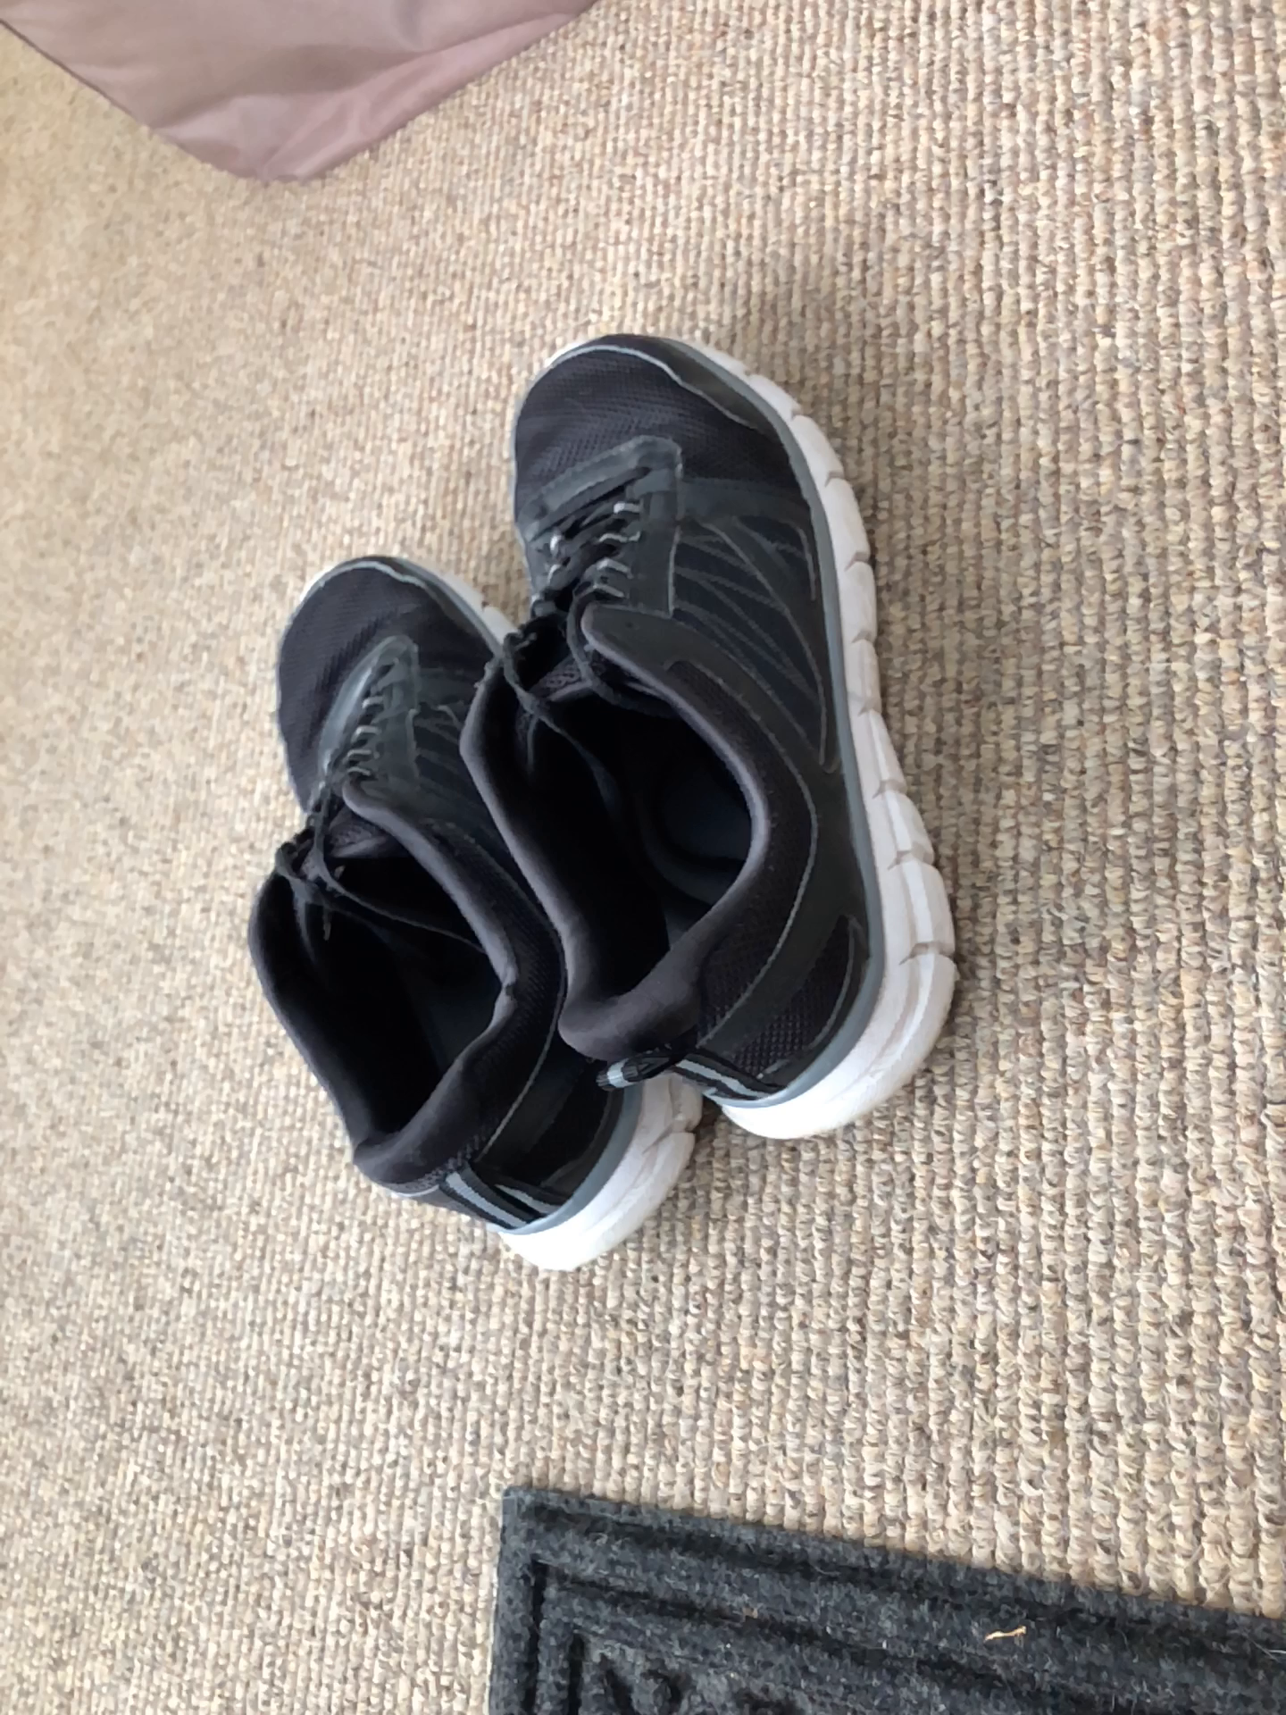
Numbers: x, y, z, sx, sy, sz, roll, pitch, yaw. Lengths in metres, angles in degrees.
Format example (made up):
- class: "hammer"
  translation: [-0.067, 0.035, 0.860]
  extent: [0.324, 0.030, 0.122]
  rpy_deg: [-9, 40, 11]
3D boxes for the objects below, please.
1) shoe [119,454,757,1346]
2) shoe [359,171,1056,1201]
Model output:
- class: "shoe"
  translation: [-0.084, 0.009, 0.492]
  extent: [0.118, 0.100, 0.276]
  rpy_deg: [-39, 53, 21]
- class: "shoe"
  translation: [0.007, -0.052, 0.442]
  extent: [0.120, 0.111, 0.276]
  rpy_deg: [-29, 57, 28]
